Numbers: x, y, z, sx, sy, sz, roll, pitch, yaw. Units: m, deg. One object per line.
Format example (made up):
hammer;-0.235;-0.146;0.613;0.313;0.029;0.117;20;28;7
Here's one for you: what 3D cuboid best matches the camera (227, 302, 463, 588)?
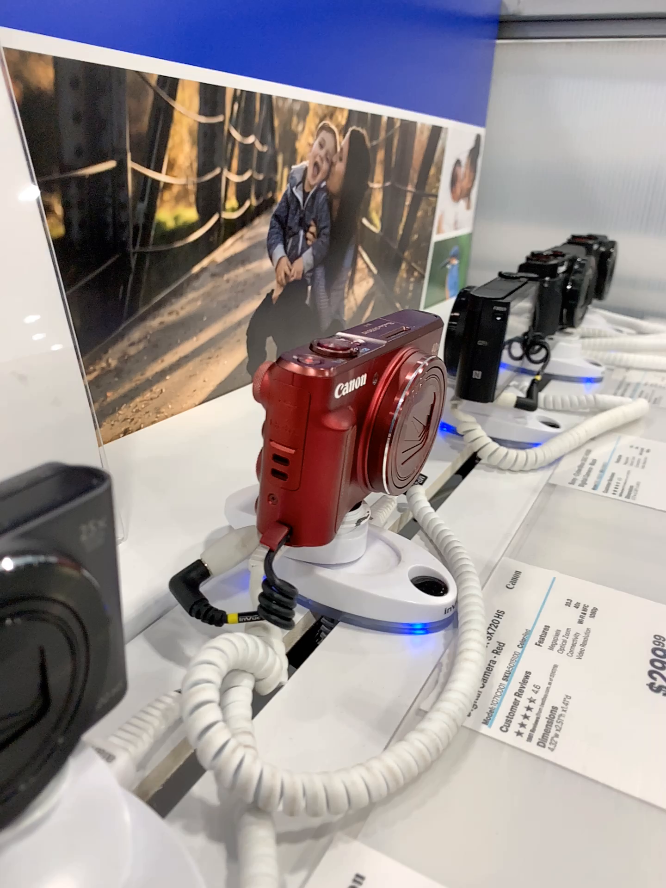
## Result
camera;0.009;-0.007;0.258;0.030;0.070;0.110;19;27;25
